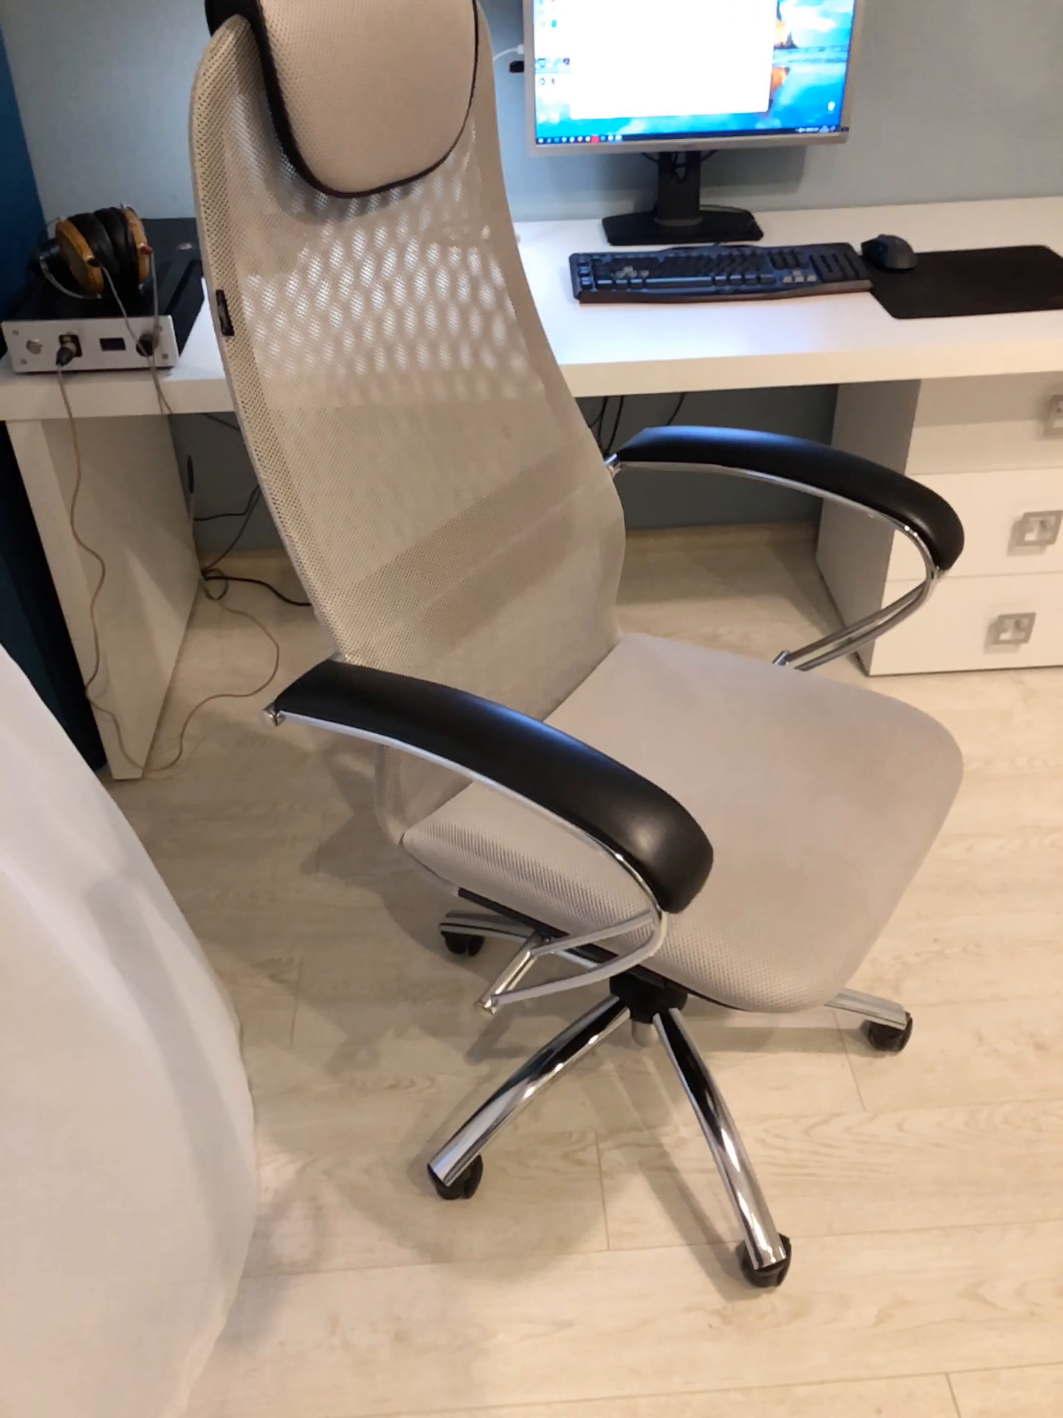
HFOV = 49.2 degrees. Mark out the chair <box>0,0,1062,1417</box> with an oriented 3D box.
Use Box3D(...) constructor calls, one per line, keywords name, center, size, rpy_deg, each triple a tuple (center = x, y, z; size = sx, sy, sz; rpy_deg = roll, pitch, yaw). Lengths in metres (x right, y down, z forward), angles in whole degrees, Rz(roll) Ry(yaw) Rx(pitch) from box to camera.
Box3D(name="chair", center=(0.118, -0.023, 1.228), size=(0.681, 1.291, 0.694), rpy_deg=(22, 44, 27))
